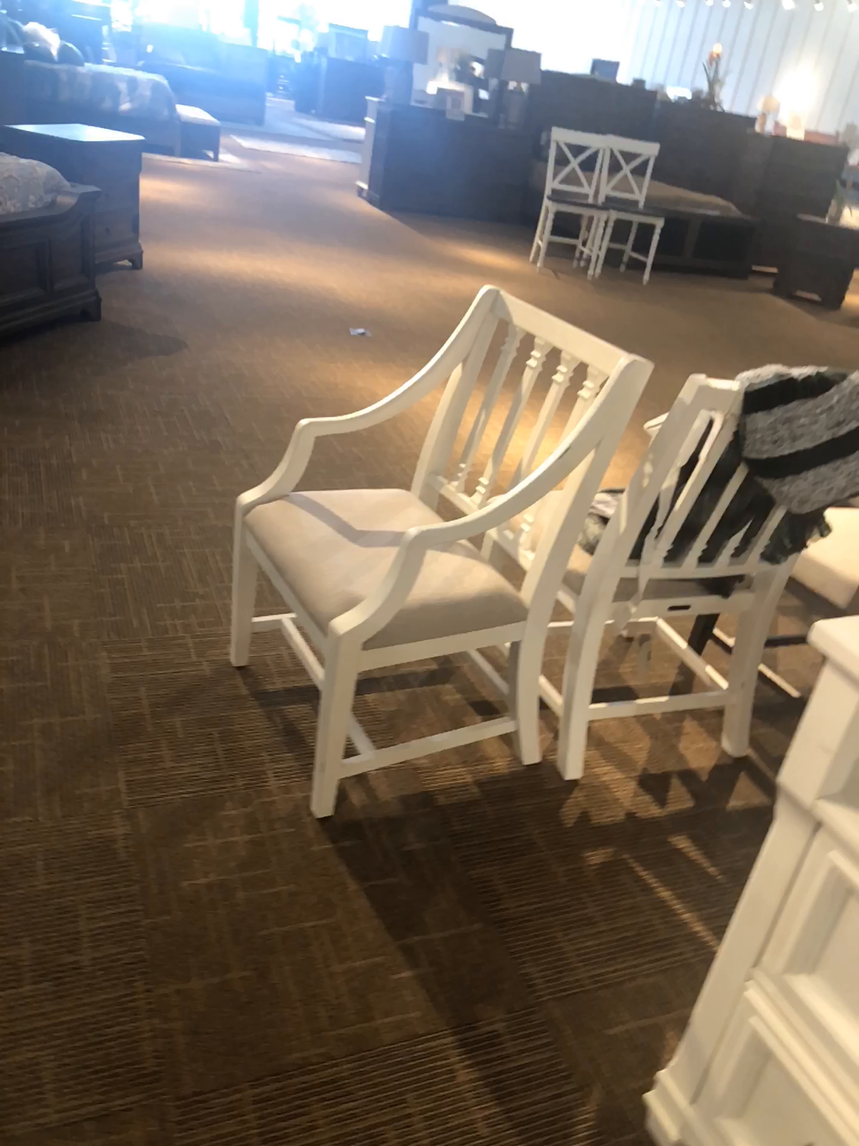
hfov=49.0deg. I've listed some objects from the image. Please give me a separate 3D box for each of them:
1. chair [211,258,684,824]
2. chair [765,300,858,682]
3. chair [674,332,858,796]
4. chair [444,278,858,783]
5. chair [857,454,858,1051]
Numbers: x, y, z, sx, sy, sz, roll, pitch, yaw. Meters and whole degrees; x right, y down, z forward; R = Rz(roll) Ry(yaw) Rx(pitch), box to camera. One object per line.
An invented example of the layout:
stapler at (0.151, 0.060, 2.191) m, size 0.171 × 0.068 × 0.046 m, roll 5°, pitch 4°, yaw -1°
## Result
chair at (-0.045, -0.095, 1.942) m, size 0.631 × 0.886 × 0.652 m, roll -3°, pitch 30°, yaw -24°
chair at (1.557, -0.236, 2.814) m, size 0.601 × 0.955 × 0.542 m, roll 1°, pitch 28°, yaw -18°
chair at (1.154, -0.039, 2.277) m, size 0.681 × 0.886 × 0.582 m, roll -1°, pitch 29°, yaw -22°
chair at (0.475, -0.115, 2.126) m, size 0.561 × 0.886 × 0.642 m, roll -1°, pitch 29°, yaw -22°
chair at (1.553, 0.303, 1.875) m, size 0.871 × 0.886 × 0.602 m, roll -1°, pitch 29°, yaw -21°
